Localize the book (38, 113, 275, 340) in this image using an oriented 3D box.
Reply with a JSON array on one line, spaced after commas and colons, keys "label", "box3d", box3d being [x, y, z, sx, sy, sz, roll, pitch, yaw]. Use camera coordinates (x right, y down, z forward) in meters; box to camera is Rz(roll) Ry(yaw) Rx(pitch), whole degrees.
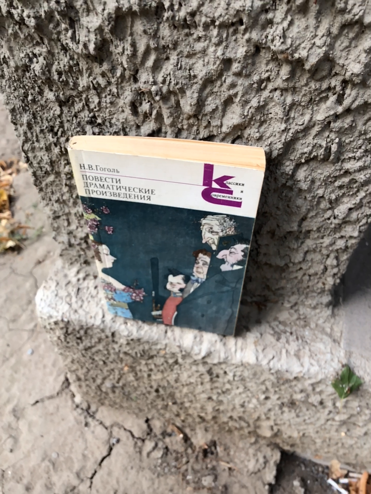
[{"label": "book", "box3d": [-0.018, -0.001, 0.316, 0.137, 0.190, 0.030, 6, 47, 4]}]
